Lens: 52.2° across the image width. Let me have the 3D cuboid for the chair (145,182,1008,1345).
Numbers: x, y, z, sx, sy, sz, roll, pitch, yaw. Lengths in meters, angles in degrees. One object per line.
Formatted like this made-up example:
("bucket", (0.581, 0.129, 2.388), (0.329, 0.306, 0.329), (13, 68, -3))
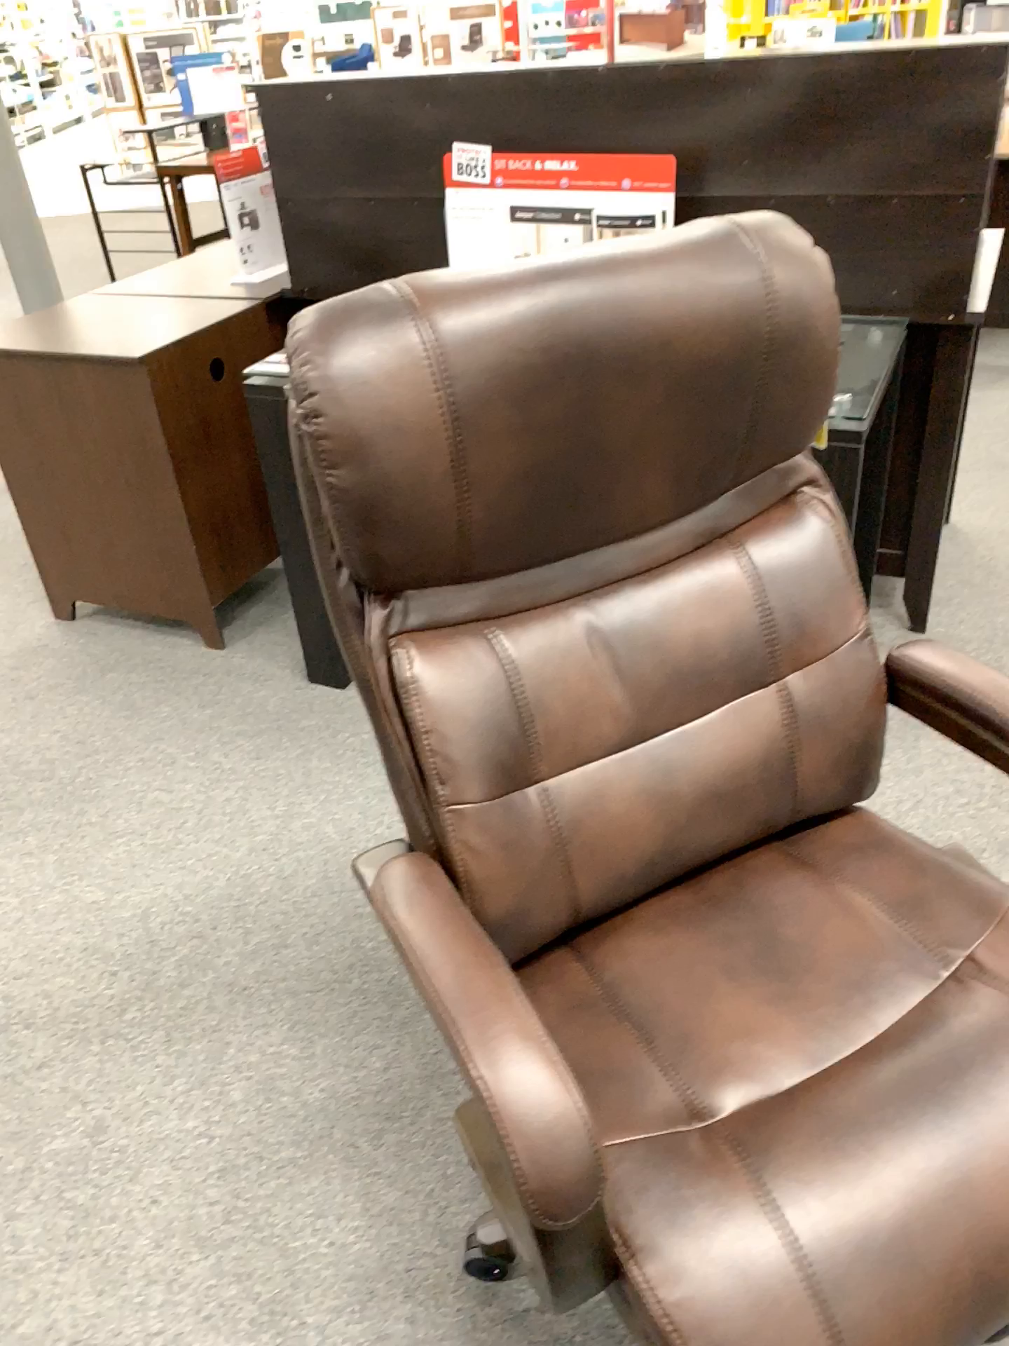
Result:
("chair", (0.224, 0.203, 1.010), (0.711, 1.094, 0.703), (-20, 36, -21))
